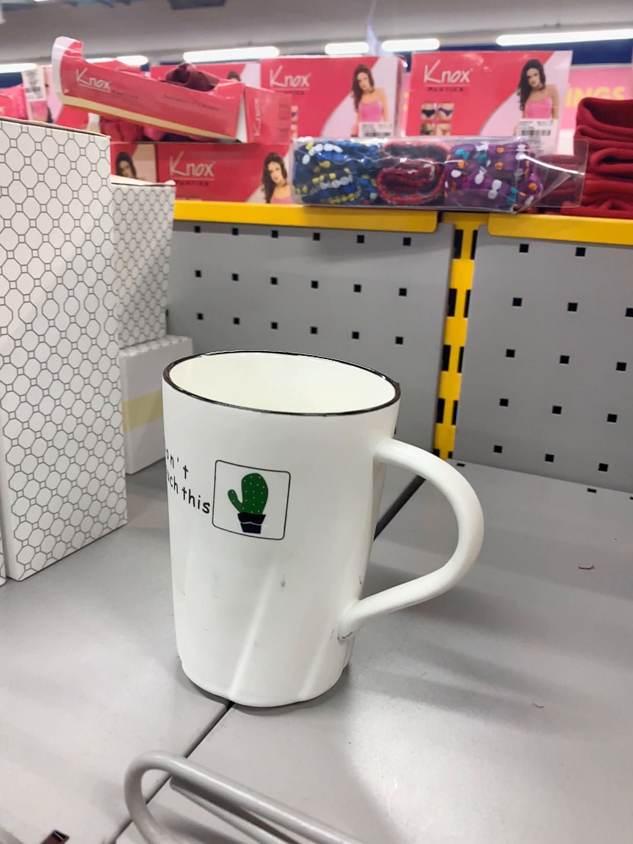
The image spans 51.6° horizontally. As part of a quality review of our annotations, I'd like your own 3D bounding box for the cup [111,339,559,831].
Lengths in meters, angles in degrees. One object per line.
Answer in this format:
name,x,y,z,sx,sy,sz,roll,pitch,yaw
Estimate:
cup,0.007,0.043,0.247,0.130,0.120,0.090,12,20,27
